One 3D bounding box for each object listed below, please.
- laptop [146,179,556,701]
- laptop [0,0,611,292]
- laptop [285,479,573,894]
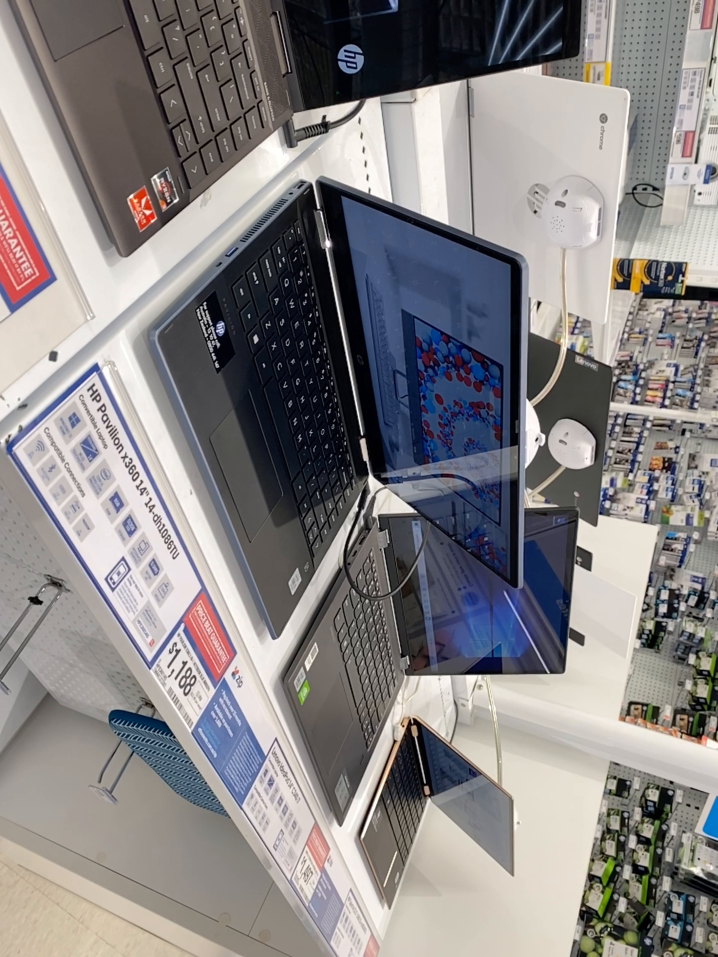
[{"bbox_3d":[0.027,-0.028,0.564,0.314,0.189,0.211,78,32,-43],"label":"laptop"},{"bbox_3d":[-0.013,-0.329,0.353,0.325,0.173,0.327,-58,147,-38],"label":"laptop"},{"bbox_3d":[0.106,0.228,0.840,0.307,0.199,0.294,79,32,-41],"label":"laptop"}]
